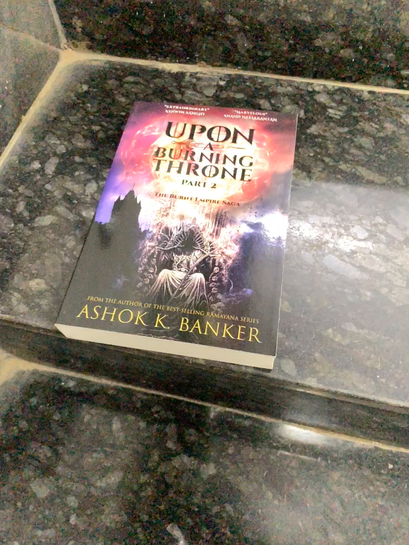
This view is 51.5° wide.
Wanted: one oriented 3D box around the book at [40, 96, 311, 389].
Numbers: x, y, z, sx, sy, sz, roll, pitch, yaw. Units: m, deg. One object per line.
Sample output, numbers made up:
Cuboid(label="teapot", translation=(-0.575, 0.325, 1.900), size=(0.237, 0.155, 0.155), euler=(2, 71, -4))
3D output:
Cuboid(label="book", translation=(-0.005, -0.035, 0.286), size=(0.140, 0.030, 0.201), euler=(7, 61, 6))
